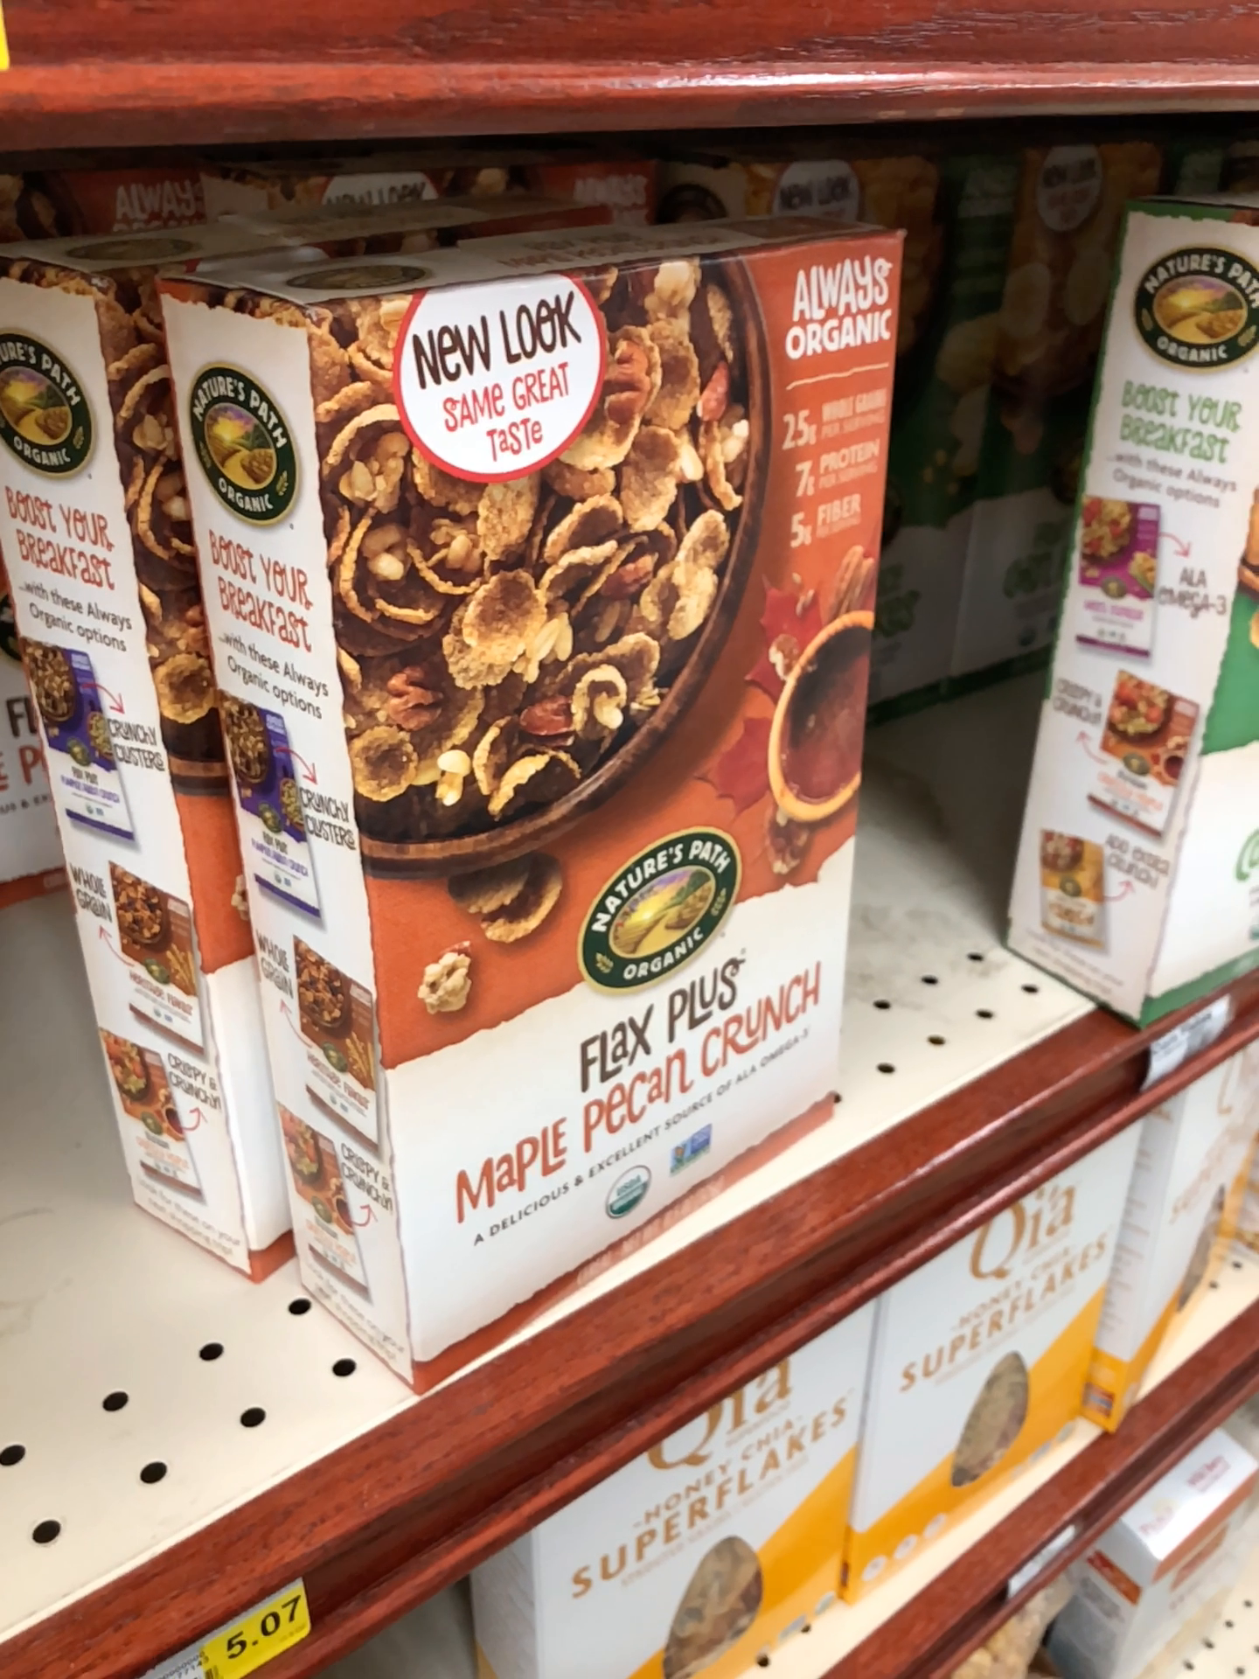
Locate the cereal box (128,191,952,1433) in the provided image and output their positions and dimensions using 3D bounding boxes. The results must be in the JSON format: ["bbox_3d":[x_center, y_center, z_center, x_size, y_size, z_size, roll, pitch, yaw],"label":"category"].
[{"bbox_3d":[-0.010,-0.008,0.341,0.160,0.259,0.060,-24,37,-36],"label":"cereal box"}]
